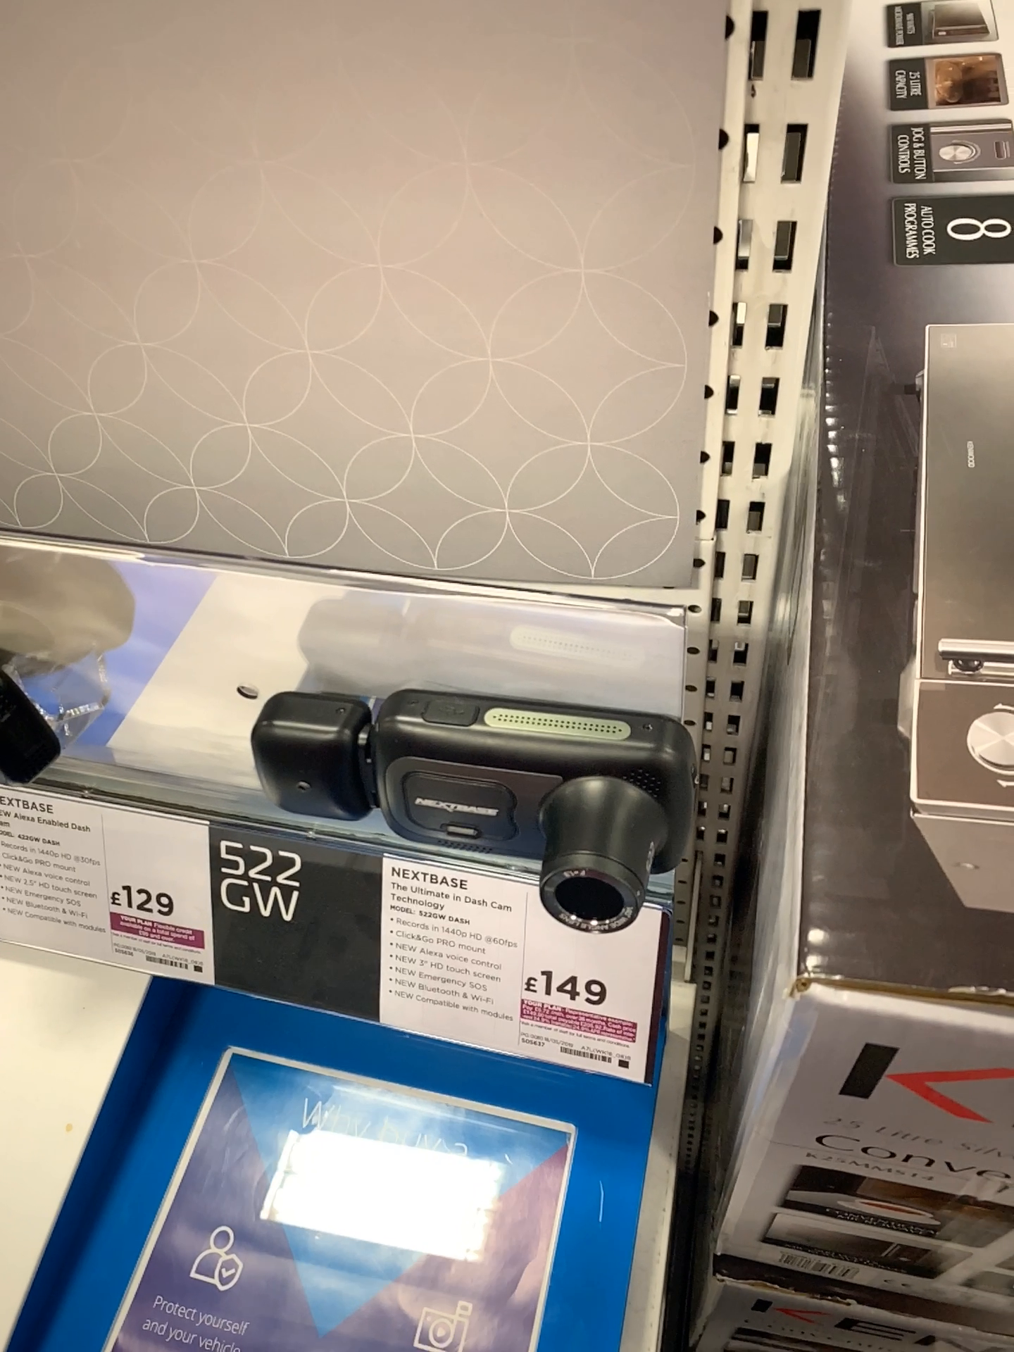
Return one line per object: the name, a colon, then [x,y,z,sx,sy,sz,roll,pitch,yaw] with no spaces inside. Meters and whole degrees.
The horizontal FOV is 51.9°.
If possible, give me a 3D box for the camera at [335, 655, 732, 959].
camera: [0.011,0.036,0.303,0.100,0.050,0.060,4,48,11]
